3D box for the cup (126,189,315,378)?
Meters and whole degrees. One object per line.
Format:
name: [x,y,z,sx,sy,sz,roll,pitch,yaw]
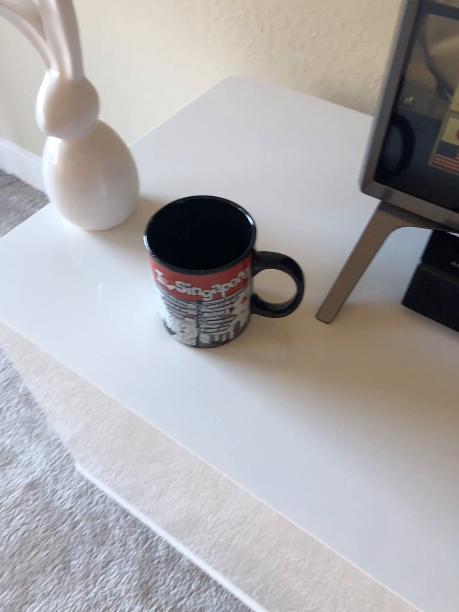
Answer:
cup: [-0.003,-0.016,0.406,0.120,0.110,0.080,10,52,8]
